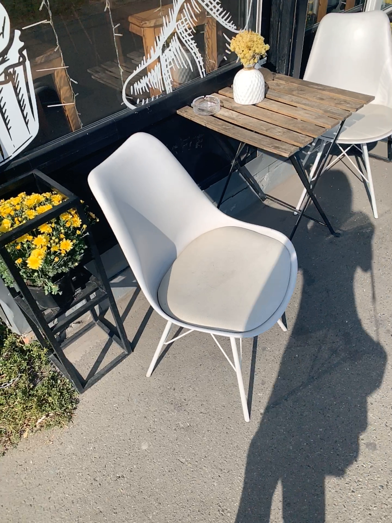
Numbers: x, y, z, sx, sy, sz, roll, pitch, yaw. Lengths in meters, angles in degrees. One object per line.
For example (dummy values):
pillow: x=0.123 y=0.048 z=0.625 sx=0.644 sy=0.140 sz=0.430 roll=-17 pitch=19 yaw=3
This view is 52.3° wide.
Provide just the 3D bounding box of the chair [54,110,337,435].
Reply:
chair: x=0.048 y=0.045 z=1.226 sx=0.531 sy=0.776 sz=0.482 roll=15 pitch=48 yaw=20
